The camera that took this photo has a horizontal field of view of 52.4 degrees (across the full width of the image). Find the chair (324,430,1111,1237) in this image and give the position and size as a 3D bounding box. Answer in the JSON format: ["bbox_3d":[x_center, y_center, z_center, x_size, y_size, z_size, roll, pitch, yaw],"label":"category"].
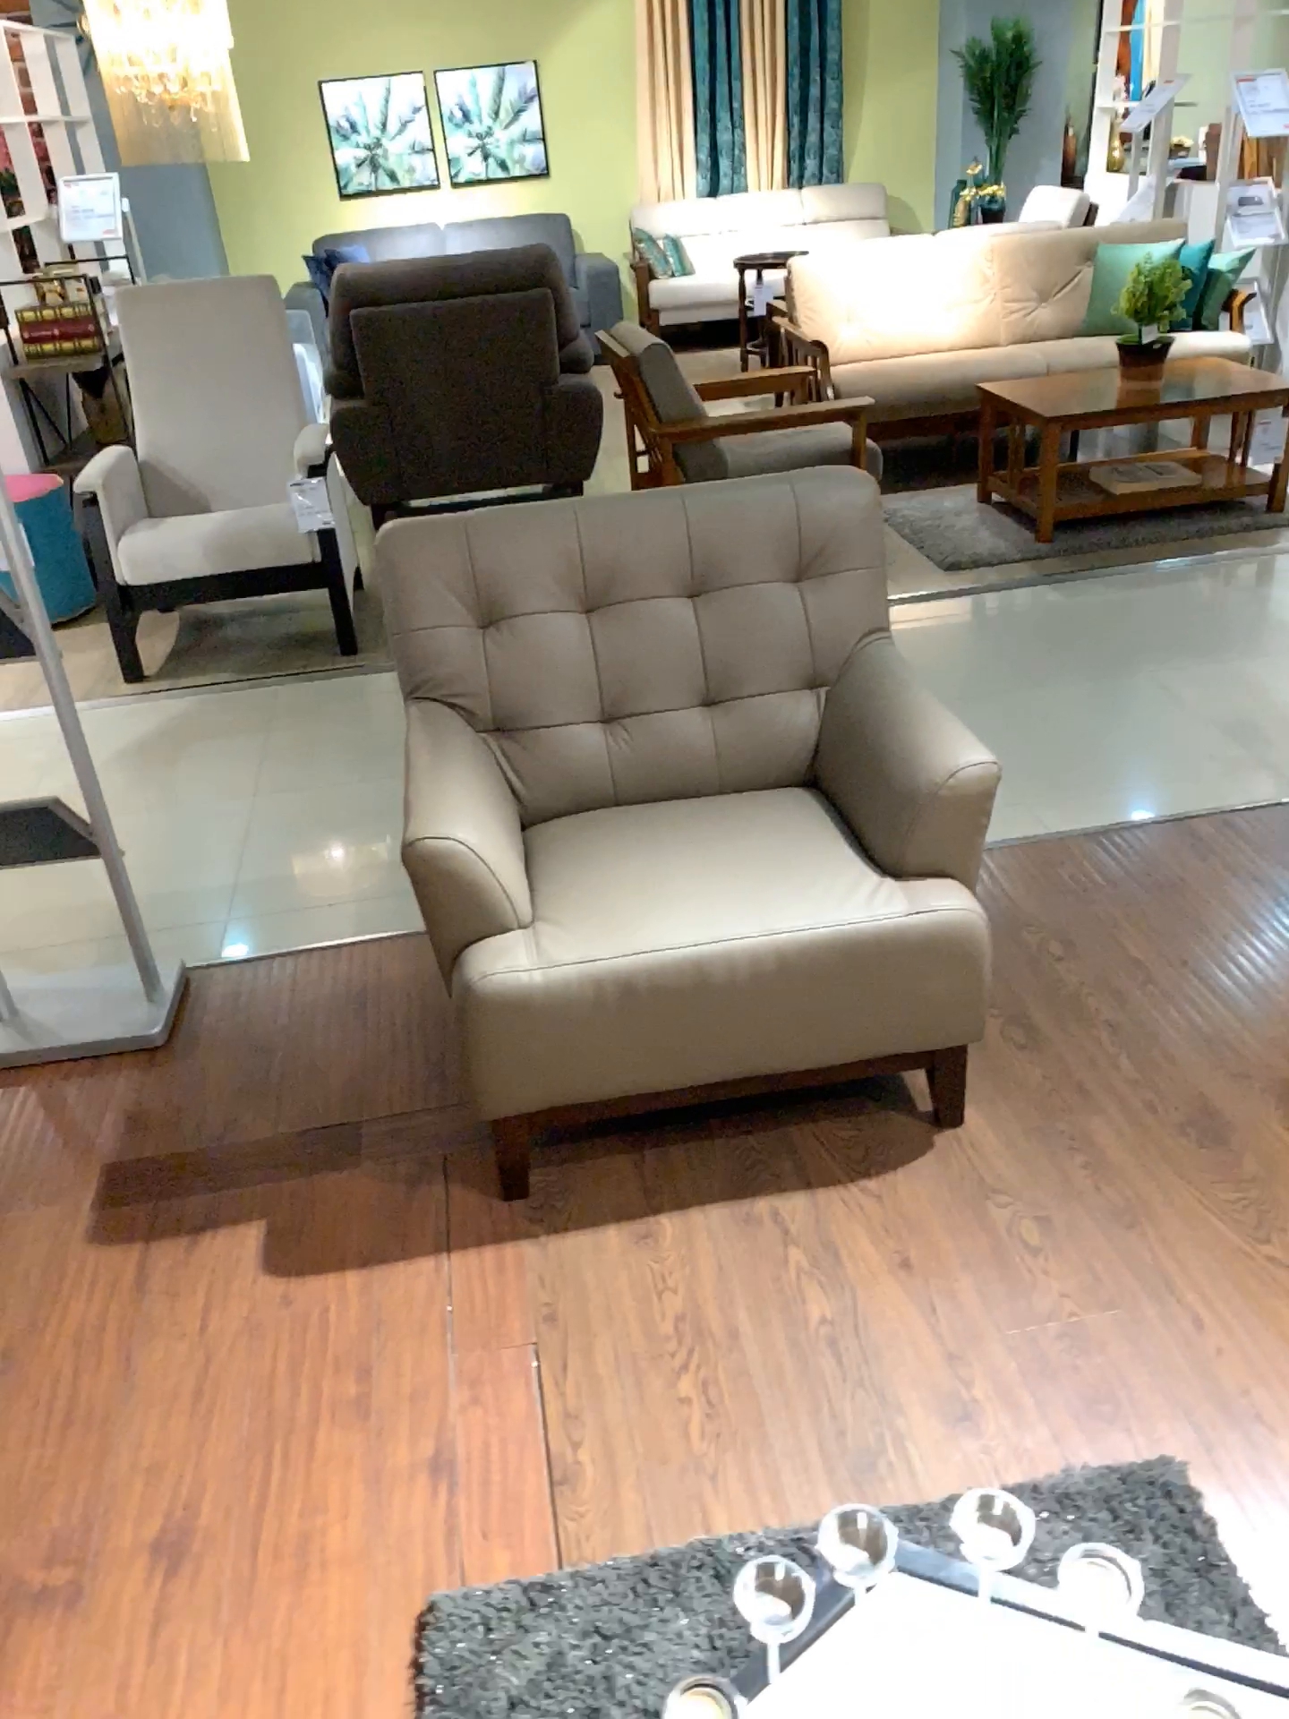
[{"bbox_3d":[0.047,-0.130,2.187,0.950,0.856,1.004,-8,29,-7],"label":"chair"}]
